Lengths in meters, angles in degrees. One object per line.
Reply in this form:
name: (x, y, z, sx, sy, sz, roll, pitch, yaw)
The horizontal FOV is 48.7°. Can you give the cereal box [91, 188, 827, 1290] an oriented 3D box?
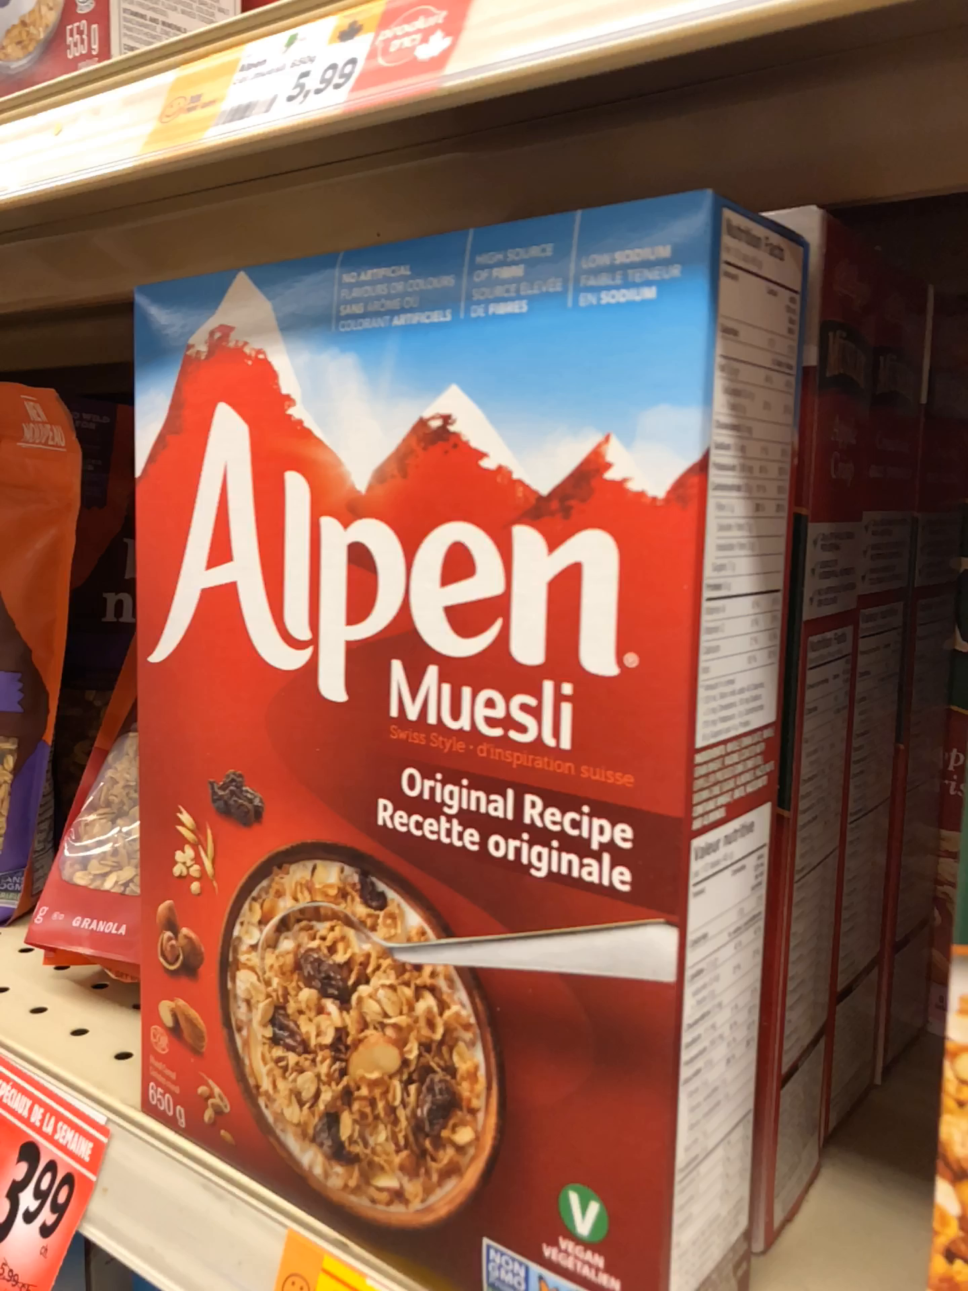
cereal box: (-0.018, 0.027, 0.276, 0.180, 0.239, 0.060, 7, 10, 36)
